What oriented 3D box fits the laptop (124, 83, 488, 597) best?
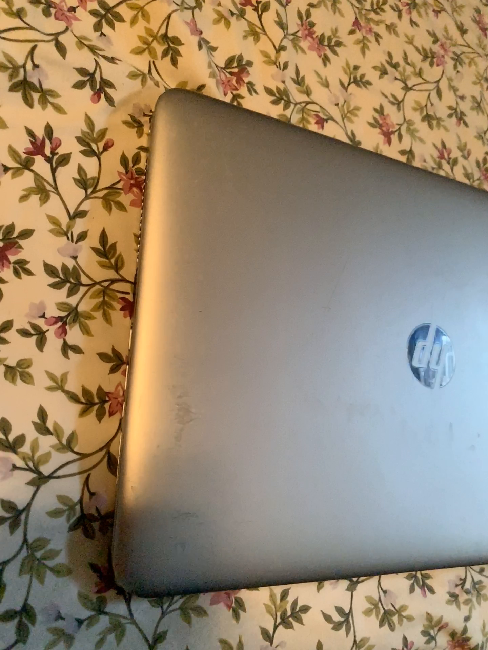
[{"bbox_3d":[0.110,0.015,0.295,0.338,0.010,0.228,8,75,-25],"label":"laptop"}]
